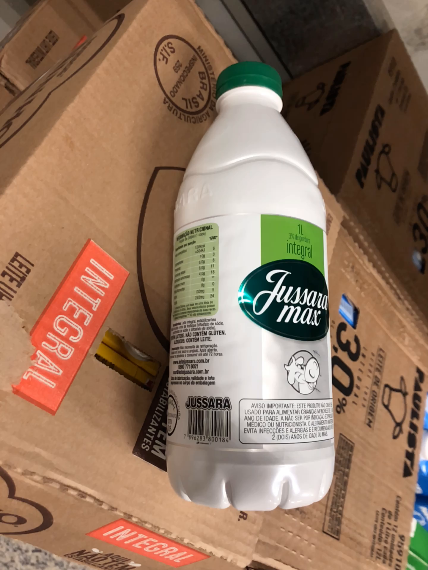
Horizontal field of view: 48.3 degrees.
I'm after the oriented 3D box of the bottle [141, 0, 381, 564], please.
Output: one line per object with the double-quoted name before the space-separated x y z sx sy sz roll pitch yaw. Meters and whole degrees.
"bottle" 0.030 -0.007 0.246 0.091 0.060 0.240 12 80 -42
